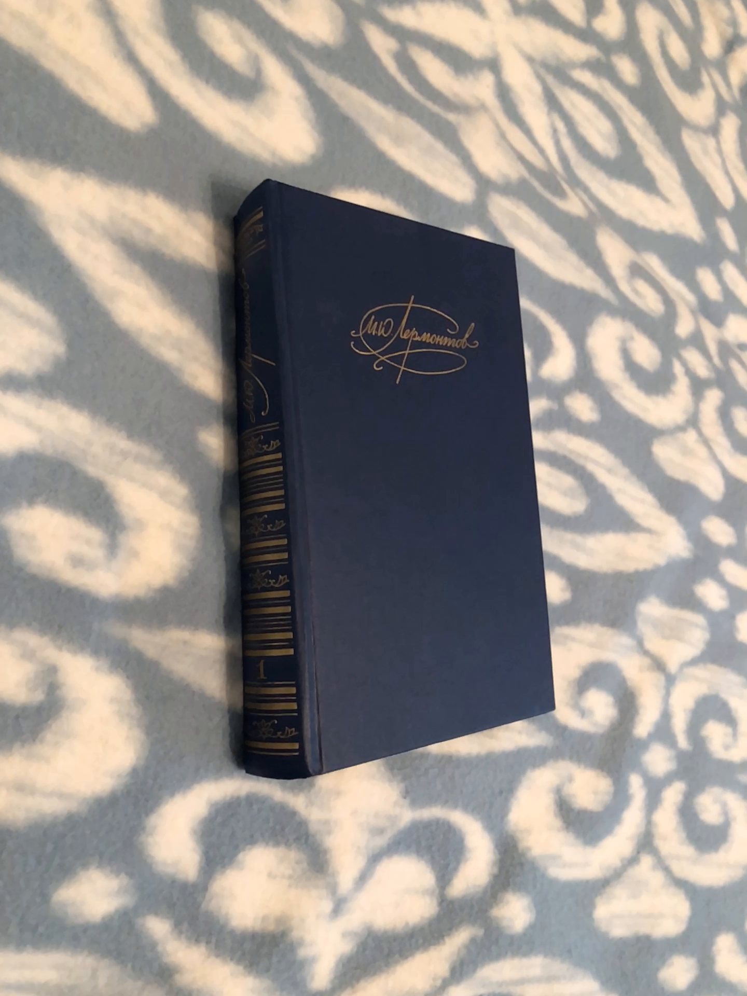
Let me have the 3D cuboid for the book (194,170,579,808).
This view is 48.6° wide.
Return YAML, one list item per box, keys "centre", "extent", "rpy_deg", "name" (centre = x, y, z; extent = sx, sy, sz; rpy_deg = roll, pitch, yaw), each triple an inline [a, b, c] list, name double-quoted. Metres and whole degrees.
- centre: [0.009, -0.004, 0.315]
  extent: [0.139, 0.040, 0.200]
  rpy_deg: [1, 82, -39]
  name: "book"
